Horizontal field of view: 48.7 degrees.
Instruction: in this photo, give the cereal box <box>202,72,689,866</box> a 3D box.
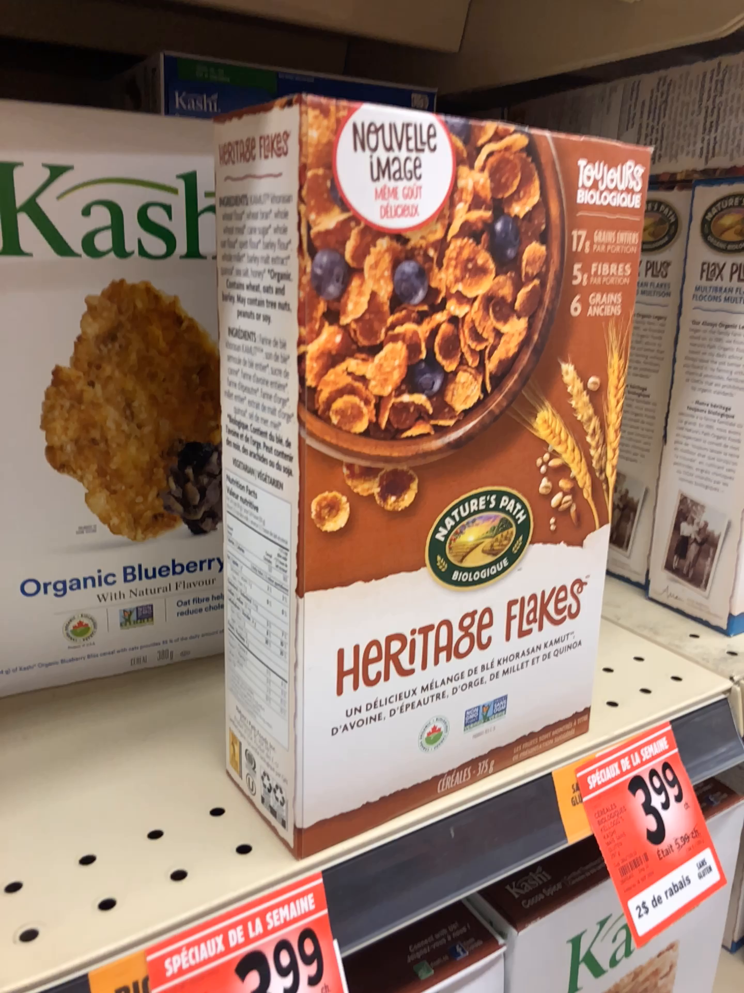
[{"bbox_3d":[0.028,-0.013,0.334,0.170,0.259,0.070,-9,20,-33],"label":"cereal box"}]
